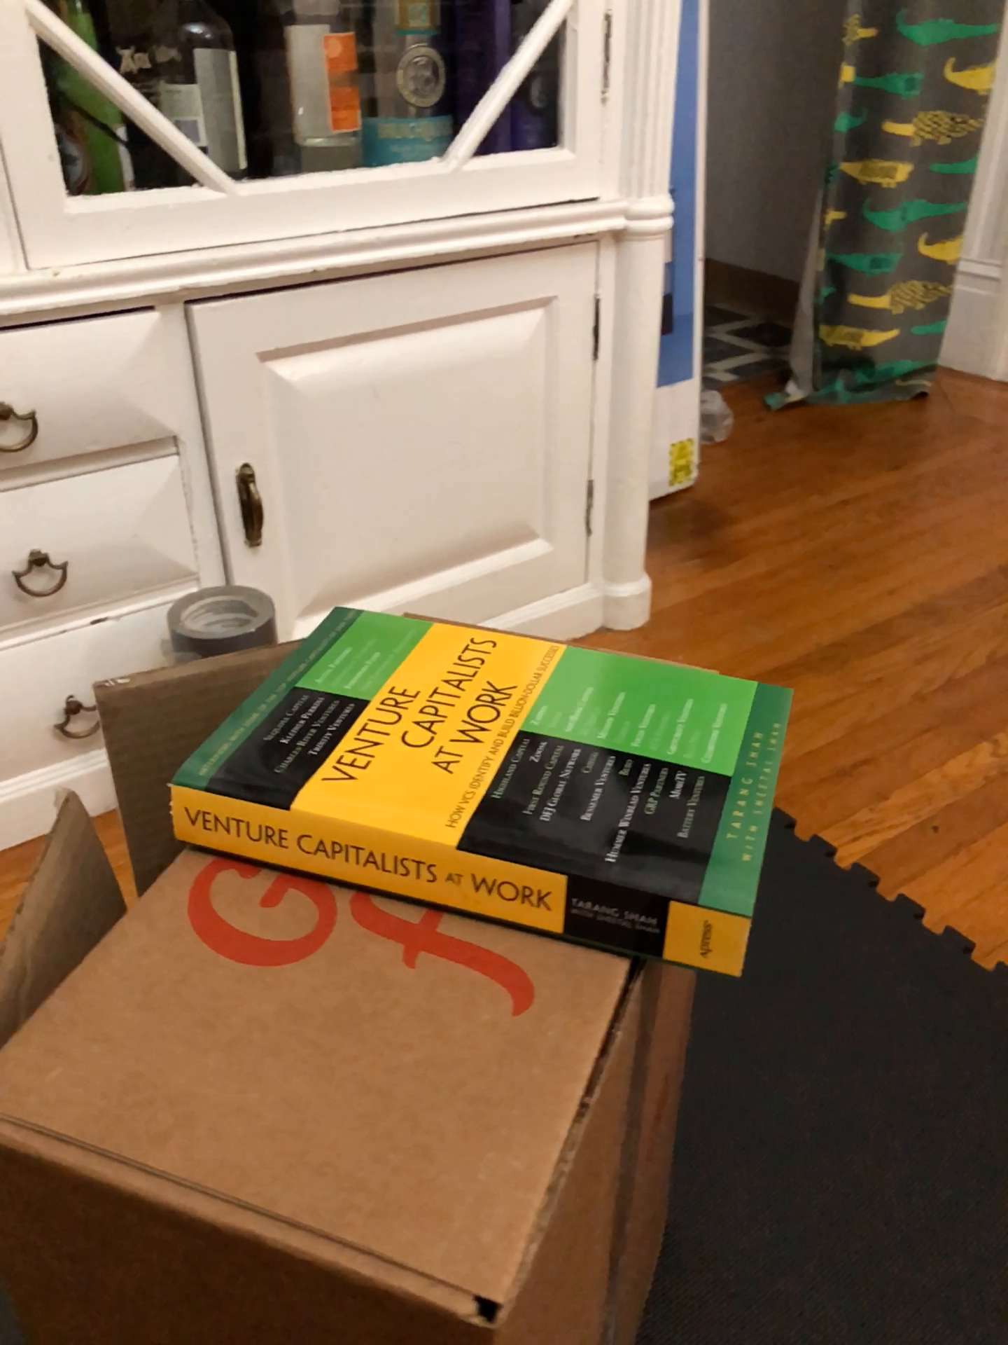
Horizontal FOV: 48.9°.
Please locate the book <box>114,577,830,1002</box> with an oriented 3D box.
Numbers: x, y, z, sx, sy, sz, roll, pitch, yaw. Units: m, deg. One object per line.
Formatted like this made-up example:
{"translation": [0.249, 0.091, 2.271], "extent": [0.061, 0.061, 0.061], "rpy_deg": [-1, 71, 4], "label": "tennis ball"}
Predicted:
{"translation": [-0.004, 0.033, 0.473], "extent": [0.260, 0.040, 0.161], "rpy_deg": [11, 34, 15], "label": "book"}
